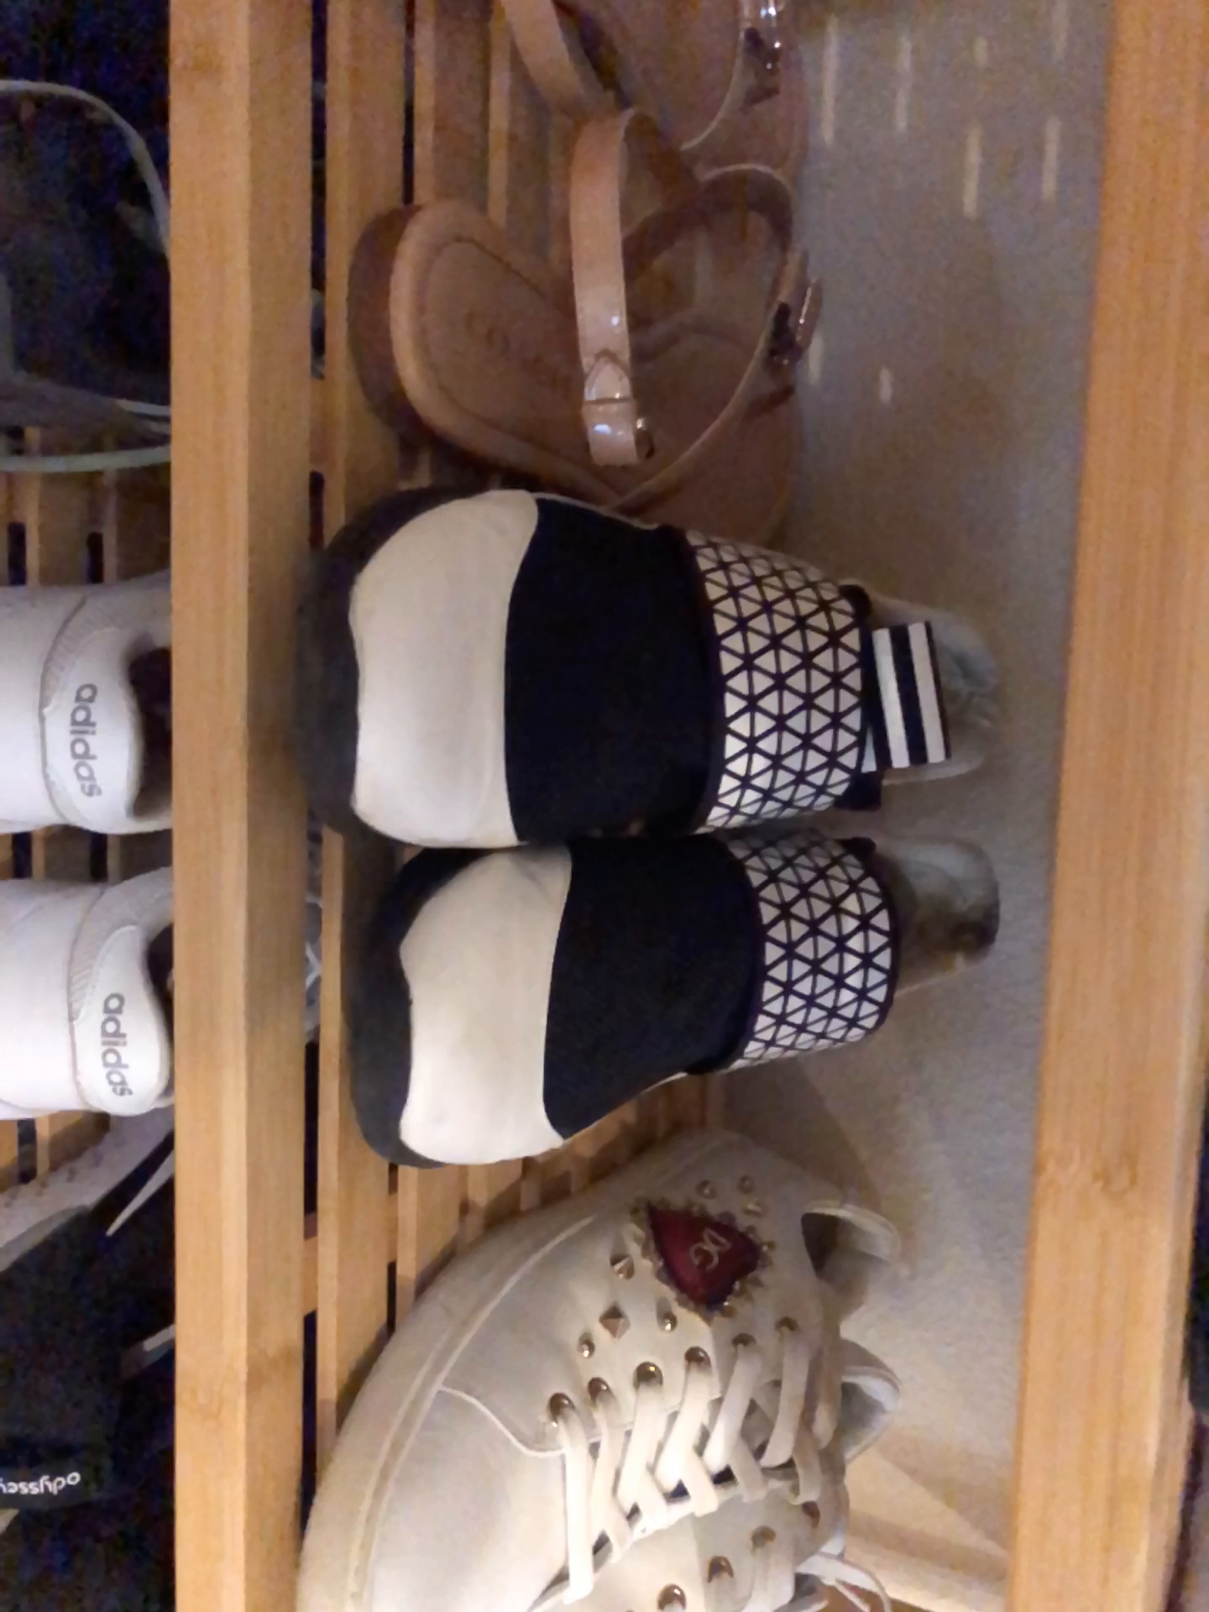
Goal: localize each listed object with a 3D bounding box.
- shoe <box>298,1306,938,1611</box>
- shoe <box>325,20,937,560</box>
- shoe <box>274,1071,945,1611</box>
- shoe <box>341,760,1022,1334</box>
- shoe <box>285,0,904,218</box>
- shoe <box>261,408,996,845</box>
[{"bbox_3d":[0.023,0.267,0.428,0.244,0.068,0.092,-15,108,-52],"label":"shoe"},{"bbox_3d":[0.029,-0.145,0.449,0.264,0.081,0.099,-7,101,-59],"label":"shoe"},{"bbox_3d":[0.022,0.175,0.425,0.257,0.068,0.092,-15,108,-52],"label":"shoe"},{"bbox_3d":[0.047,0.048,0.421,0.282,0.076,0.096,-11,105,-55],"label":"shoe"},{"bbox_3d":[0.017,-0.287,0.442,0.264,0.074,0.092,-7,101,-59],"label":"shoe"},{"bbox_3d":[0.030,-0.041,0.390,0.264,0.068,0.086,-2,96,-53],"label":"shoe"}]
